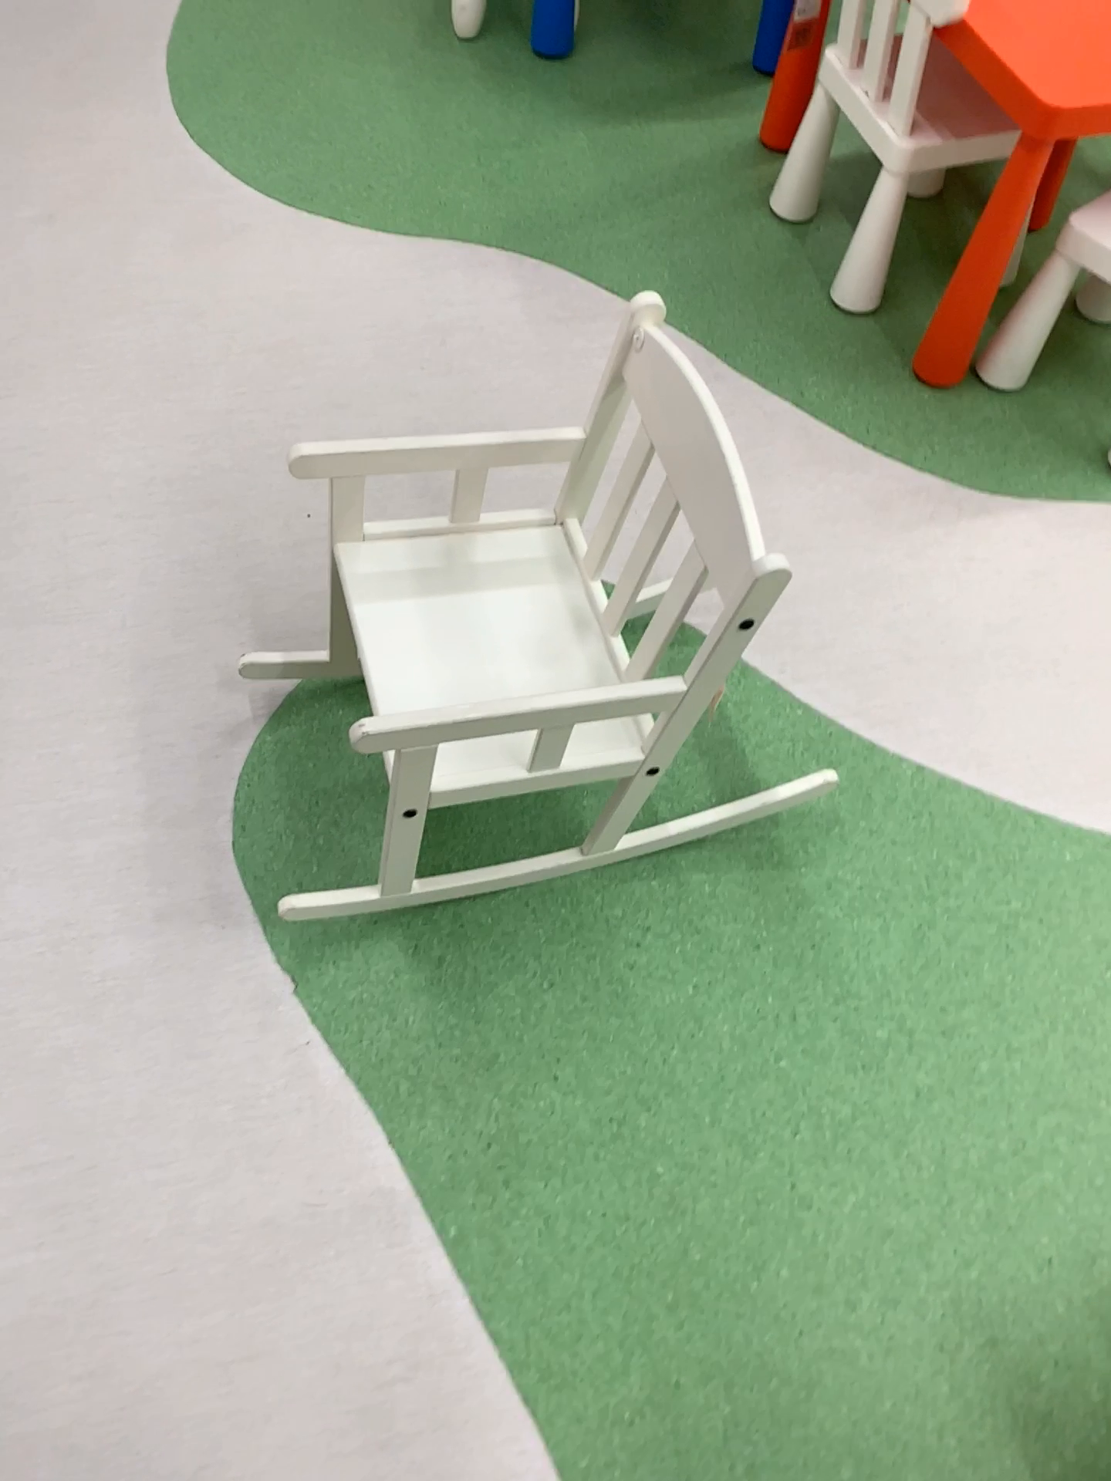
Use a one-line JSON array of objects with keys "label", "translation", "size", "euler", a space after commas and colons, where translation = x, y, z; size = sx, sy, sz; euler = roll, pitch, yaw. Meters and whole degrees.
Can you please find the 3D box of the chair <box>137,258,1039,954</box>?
[{"label": "chair", "translation": [0.003, -0.131, 1.227], "size": [0.730, 0.499, 0.411], "euler": [-12, 60, -9]}]
